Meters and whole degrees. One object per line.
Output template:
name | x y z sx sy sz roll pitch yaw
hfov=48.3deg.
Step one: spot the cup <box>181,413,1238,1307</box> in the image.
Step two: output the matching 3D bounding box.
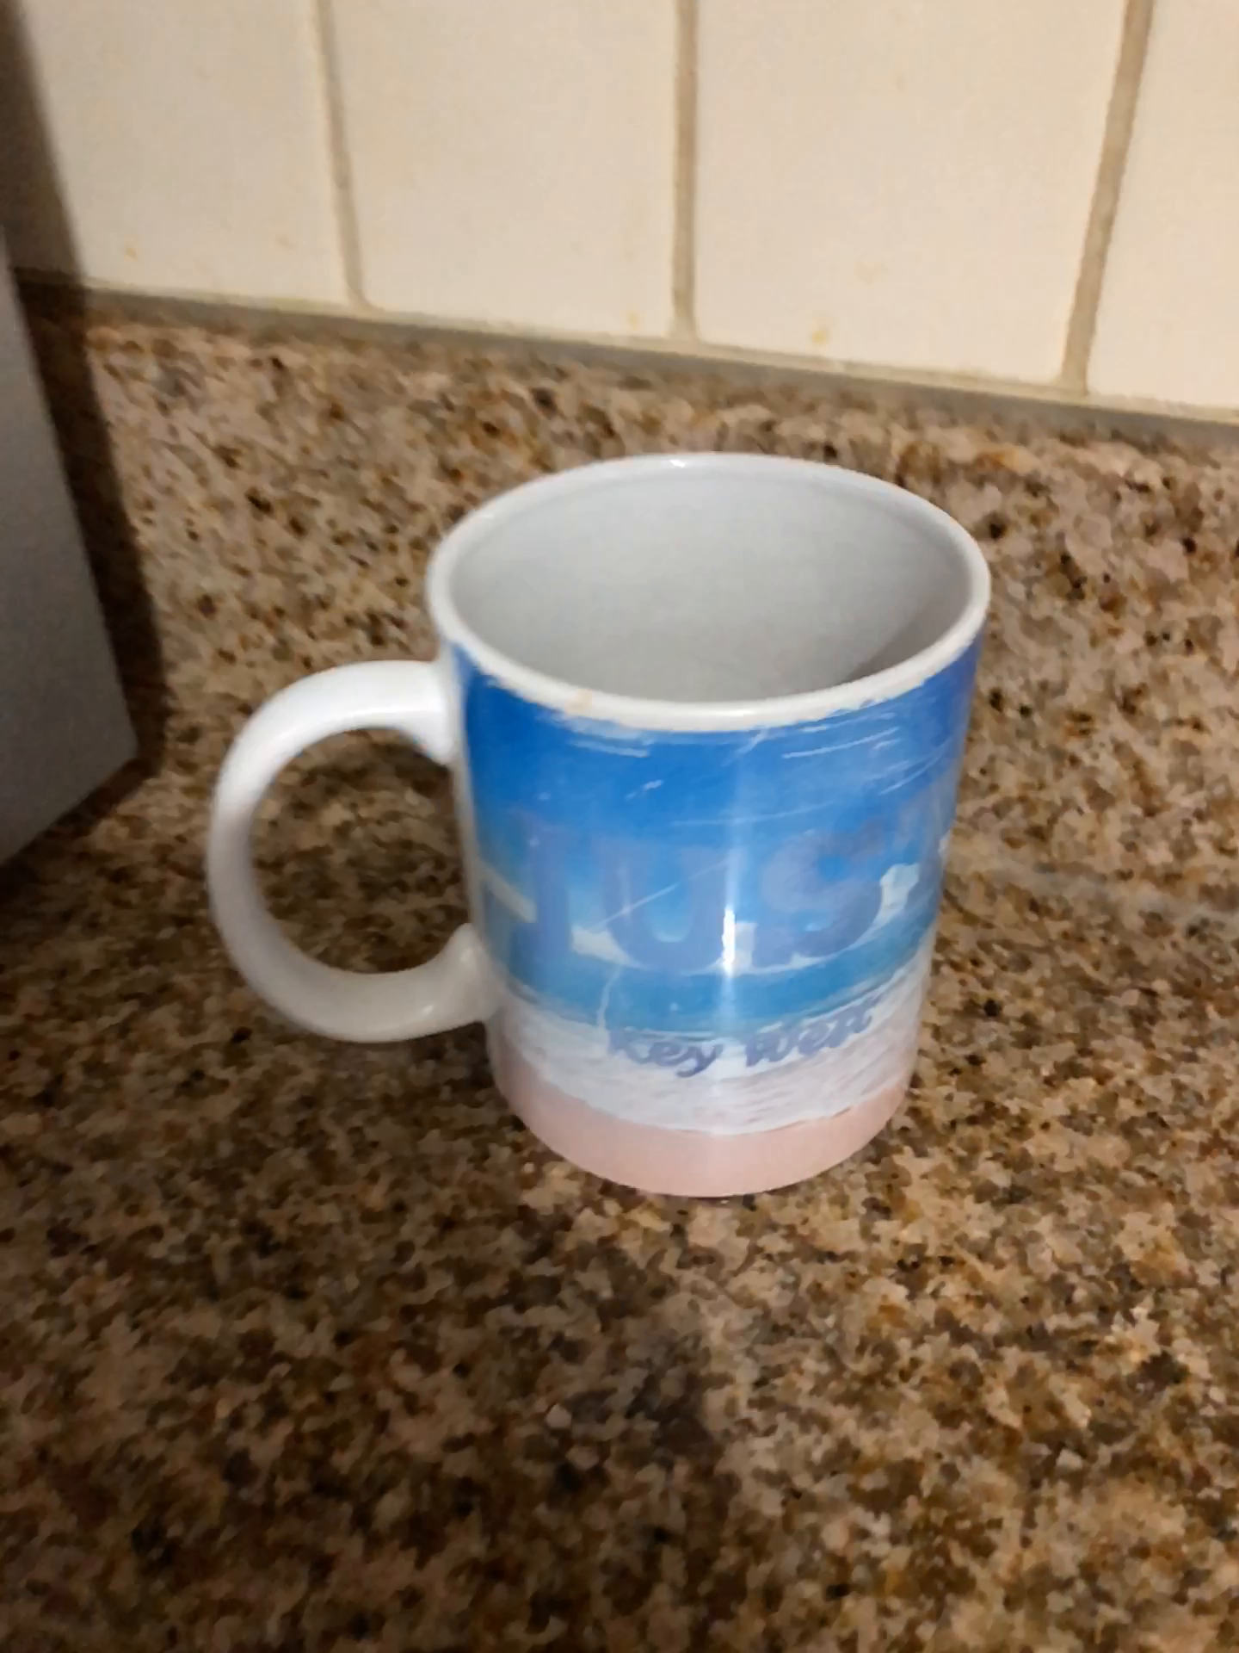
cup | 0.010 -0.001 0.217 0.130 0.090 0.090 -7 36 -8
